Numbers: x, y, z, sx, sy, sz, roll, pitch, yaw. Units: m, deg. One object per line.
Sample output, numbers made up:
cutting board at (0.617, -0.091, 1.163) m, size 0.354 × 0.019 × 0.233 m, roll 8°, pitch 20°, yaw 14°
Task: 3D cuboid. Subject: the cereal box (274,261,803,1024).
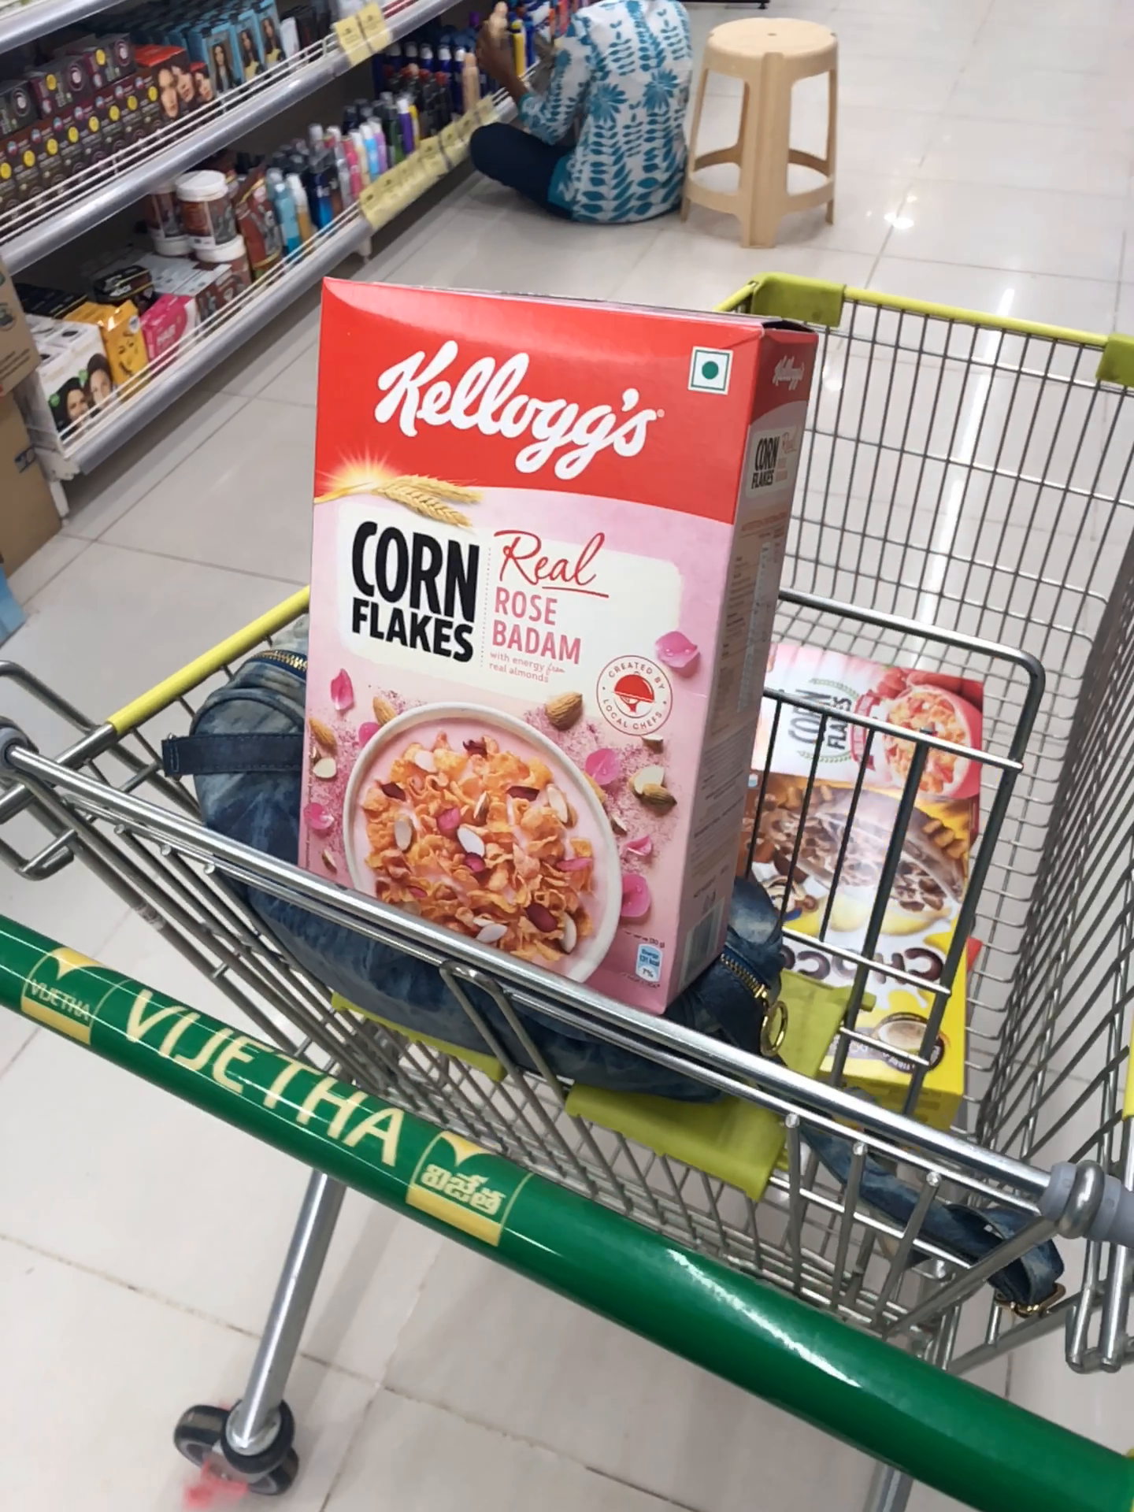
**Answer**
cereal box at (-0.022, -0.051, 0.531) m, size 0.190 × 0.279 × 0.070 m, roll 15°, pitch 26°, yaw 23°
